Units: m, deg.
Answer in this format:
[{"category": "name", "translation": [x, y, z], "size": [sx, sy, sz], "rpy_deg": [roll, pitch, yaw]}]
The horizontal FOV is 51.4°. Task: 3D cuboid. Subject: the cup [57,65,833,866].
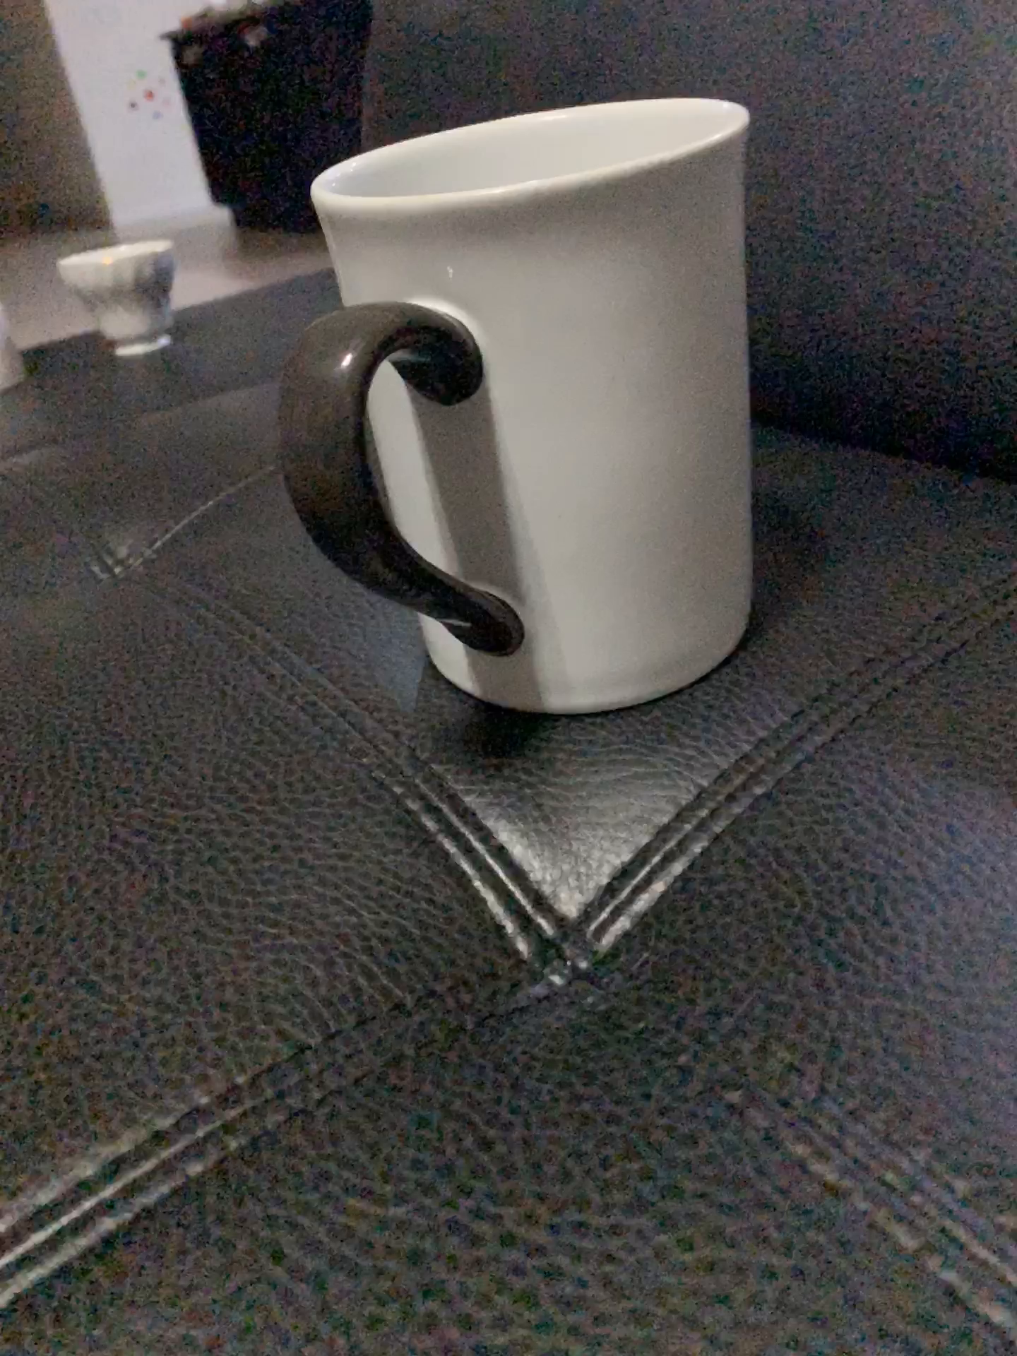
[{"category": "cup", "translation": [0.002, -0.055, 0.227], "size": [0.093, 0.115, 0.124], "rpy_deg": [13, 36, 32]}]
